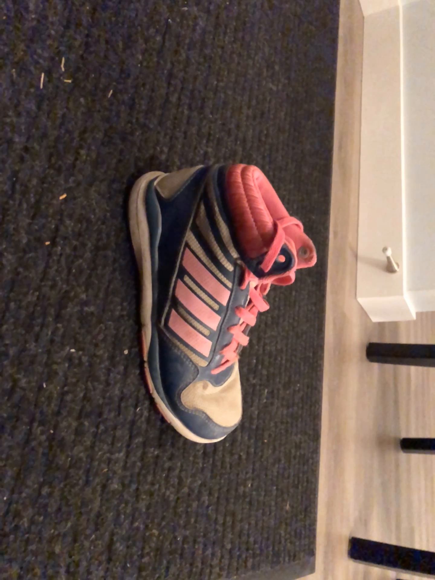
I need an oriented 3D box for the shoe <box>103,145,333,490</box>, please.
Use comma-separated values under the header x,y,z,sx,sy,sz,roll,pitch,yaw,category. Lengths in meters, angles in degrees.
x,y,z,sx,sy,sz,roll,pitch,yaw,category
0.007,0.016,0.336,0.090,0.099,0.200,-23,106,-60,shoe
